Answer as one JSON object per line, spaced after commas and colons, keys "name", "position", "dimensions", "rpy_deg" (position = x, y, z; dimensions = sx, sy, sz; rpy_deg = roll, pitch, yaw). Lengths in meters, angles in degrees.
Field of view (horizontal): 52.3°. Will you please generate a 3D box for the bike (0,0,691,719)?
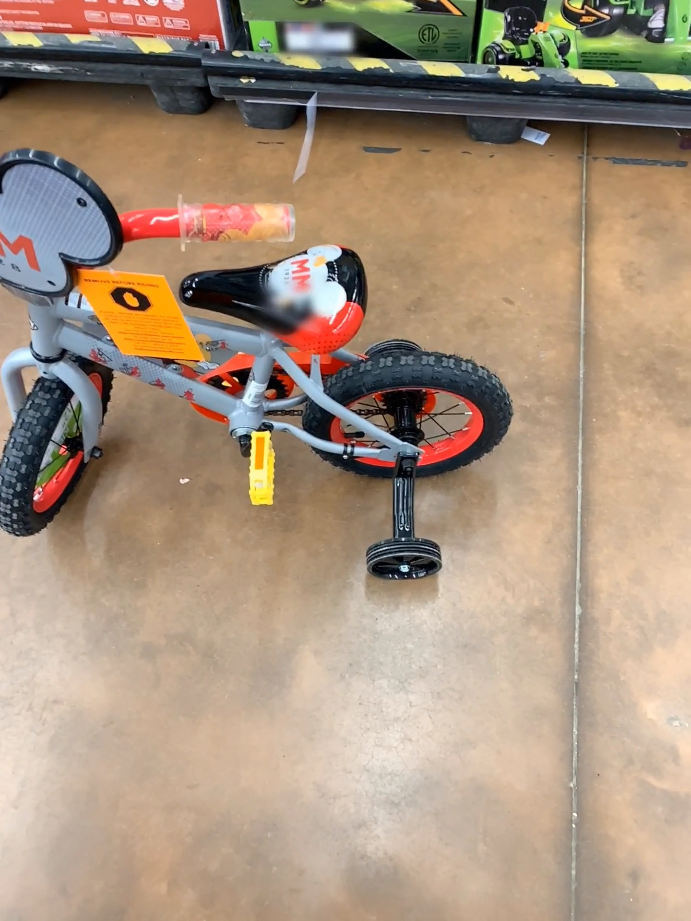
{"name": "bike", "position": [-0.128, -0.084, 0.801], "dimensions": [0.678, 0.742, 0.450], "rpy_deg": [-12, 59, -2]}
